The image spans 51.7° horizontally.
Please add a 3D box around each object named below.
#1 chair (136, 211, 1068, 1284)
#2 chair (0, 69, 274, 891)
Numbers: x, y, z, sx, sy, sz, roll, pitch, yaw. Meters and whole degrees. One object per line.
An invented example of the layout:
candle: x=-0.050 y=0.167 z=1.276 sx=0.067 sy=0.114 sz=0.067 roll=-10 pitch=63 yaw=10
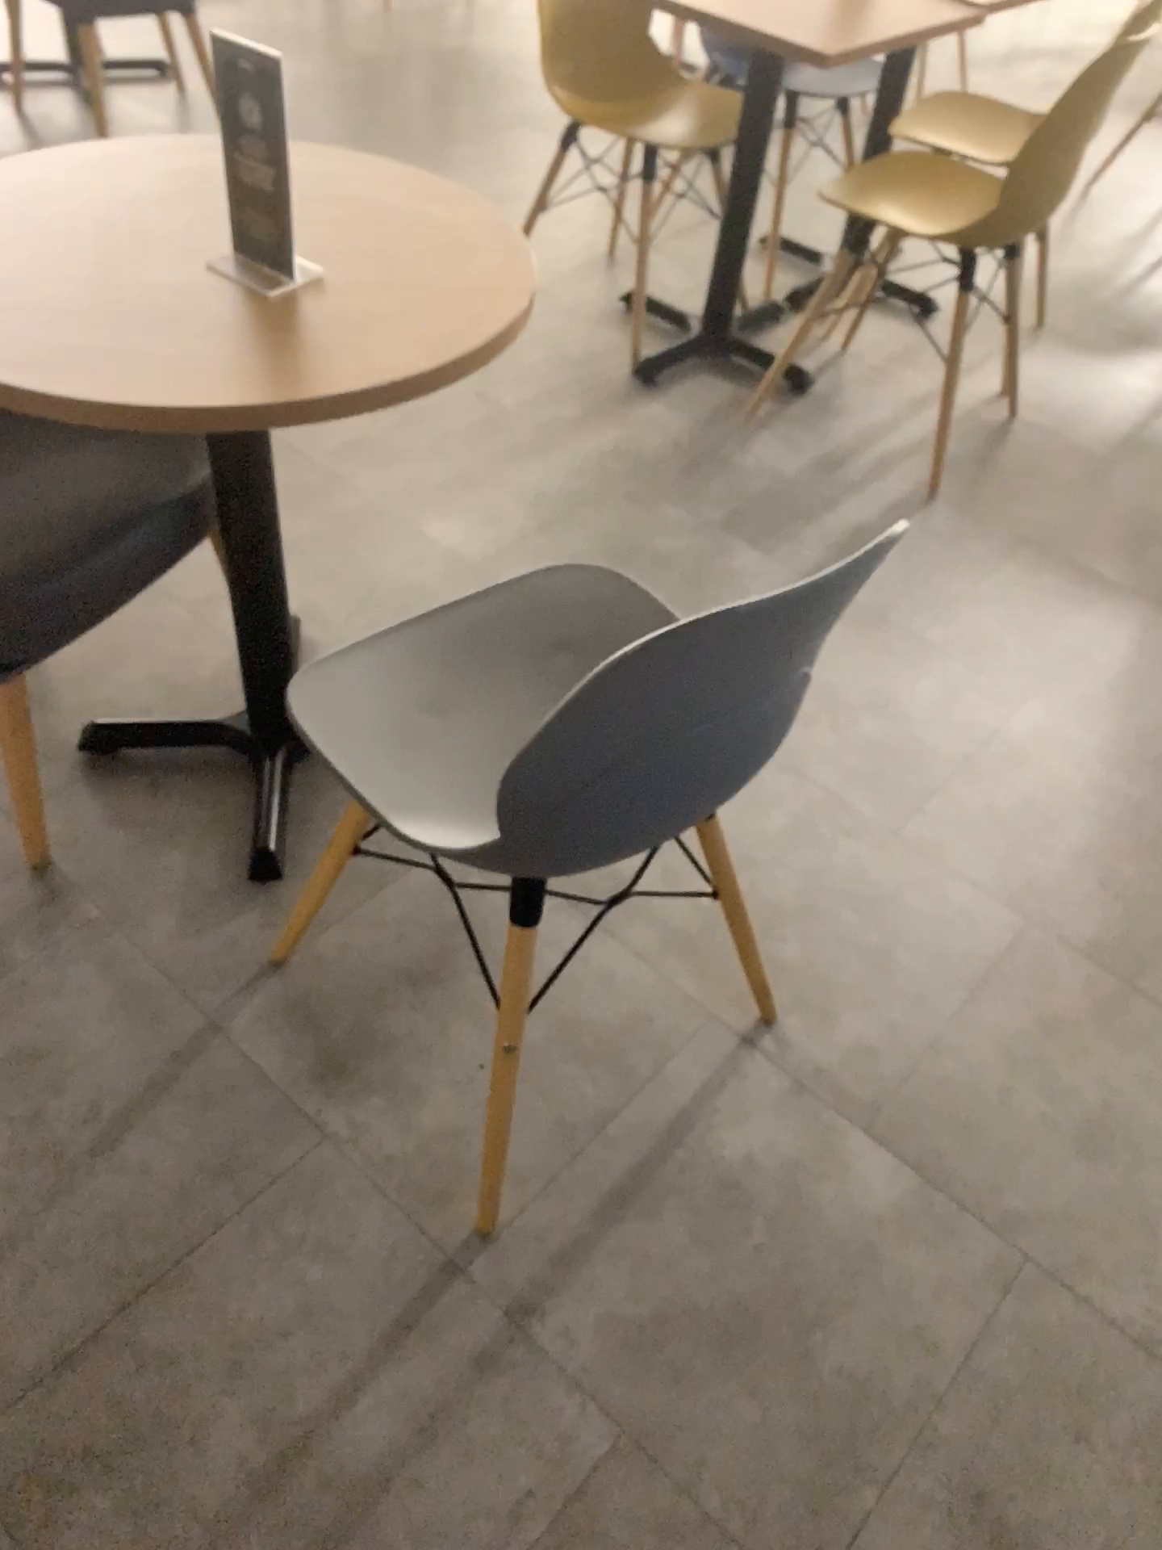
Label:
chair: x=-0.021 y=-0.018 z=1.207 sx=0.507 sy=0.802 sz=0.523 roll=-28 pitch=55 yaw=-30
chair: x=-0.813 y=-0.378 z=1.556 sx=0.511 sy=0.753 sz=0.560 roll=22 pitch=47 yaw=15
